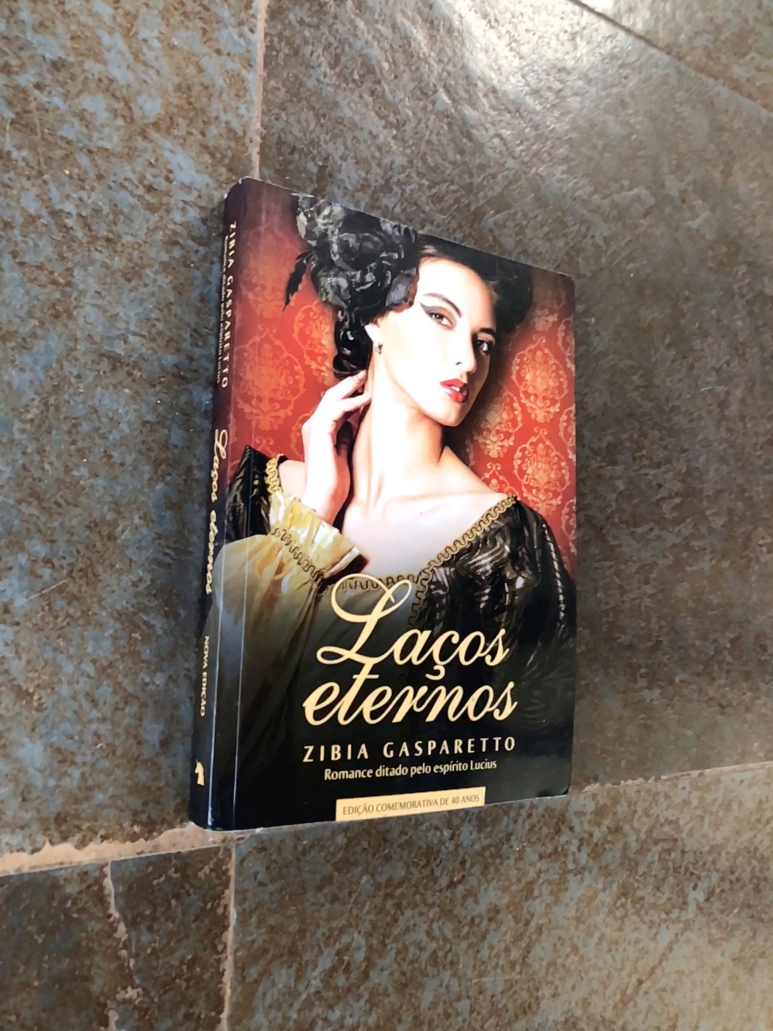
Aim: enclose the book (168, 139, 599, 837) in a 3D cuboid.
[{"bbox_3d":[0.008,-0.006,0.299,0.154,0.027,0.204,6,80,-33],"label":"book"}]
